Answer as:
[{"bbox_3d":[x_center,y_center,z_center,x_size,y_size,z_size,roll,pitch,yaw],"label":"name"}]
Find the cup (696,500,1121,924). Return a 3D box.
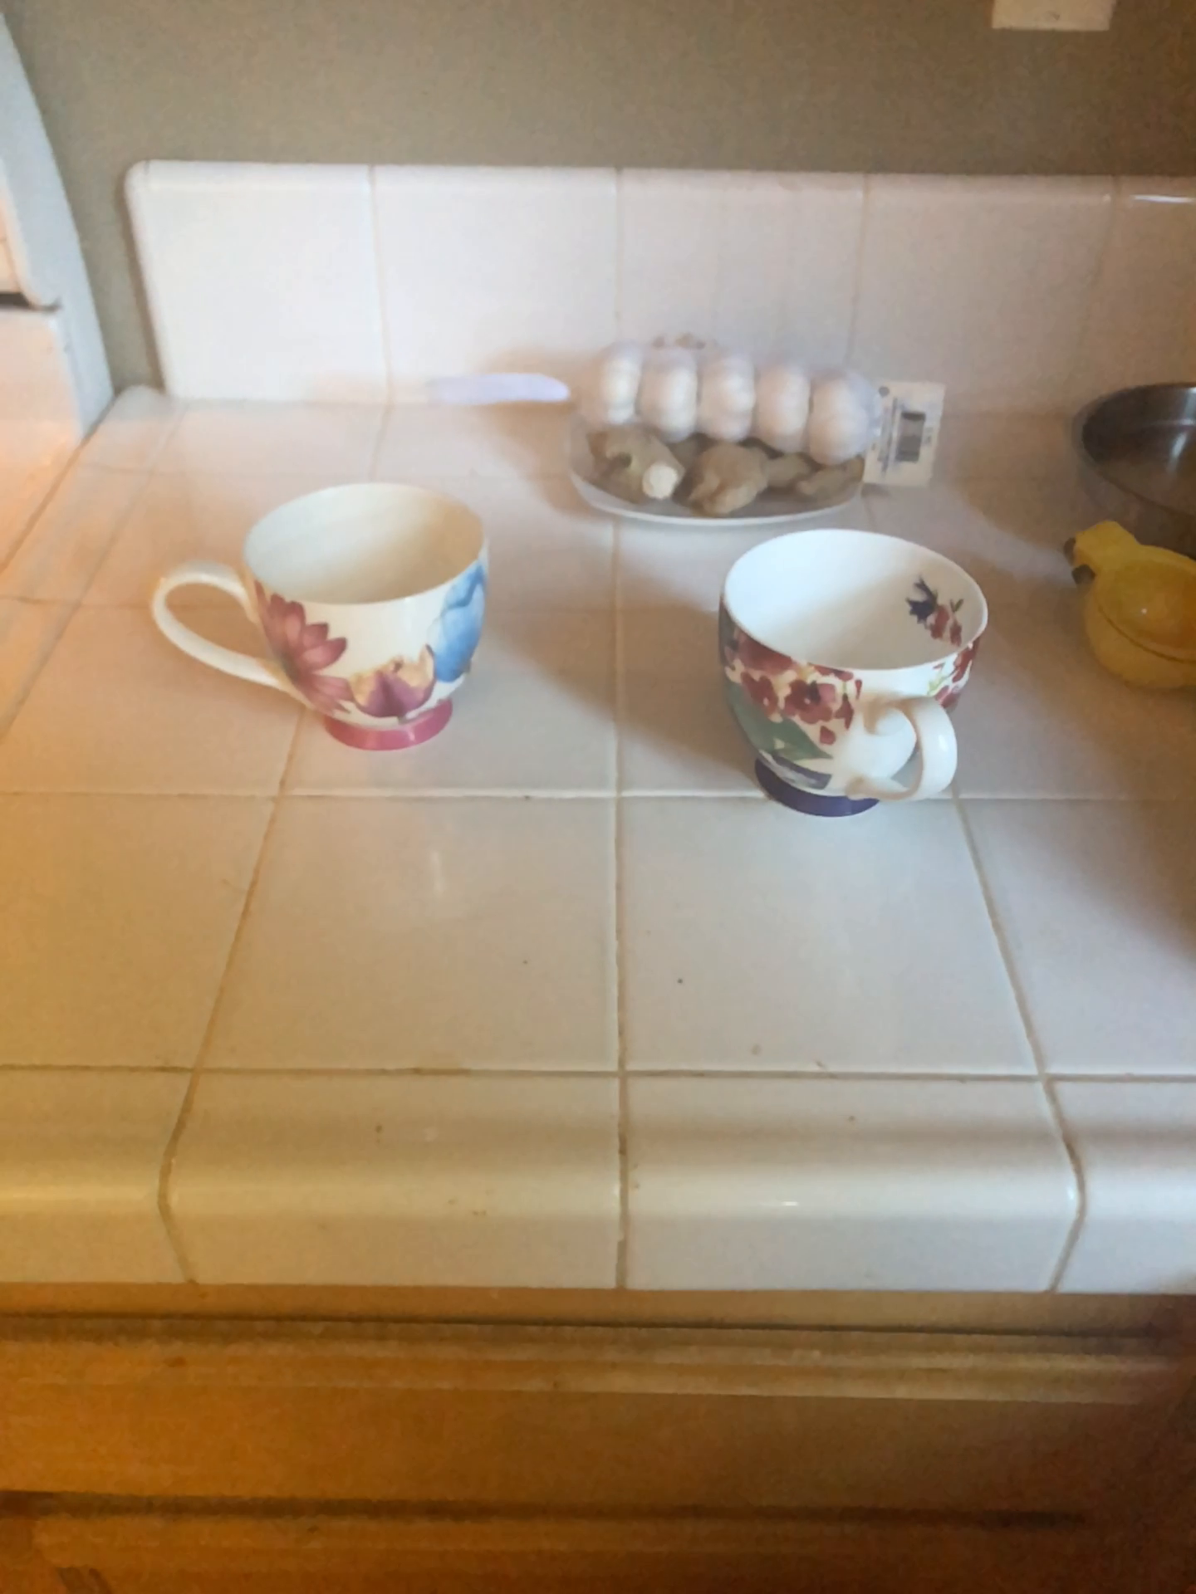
[{"bbox_3d":[0.116,-0.041,0.547,0.110,0.089,0.151,-8,42,-10],"label":"cup"}]

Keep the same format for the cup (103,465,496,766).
[{"bbox_3d":[-0.124,-0.083,0.591,0.150,0.079,0.111,-3,41,-4],"label":"cup"}]
